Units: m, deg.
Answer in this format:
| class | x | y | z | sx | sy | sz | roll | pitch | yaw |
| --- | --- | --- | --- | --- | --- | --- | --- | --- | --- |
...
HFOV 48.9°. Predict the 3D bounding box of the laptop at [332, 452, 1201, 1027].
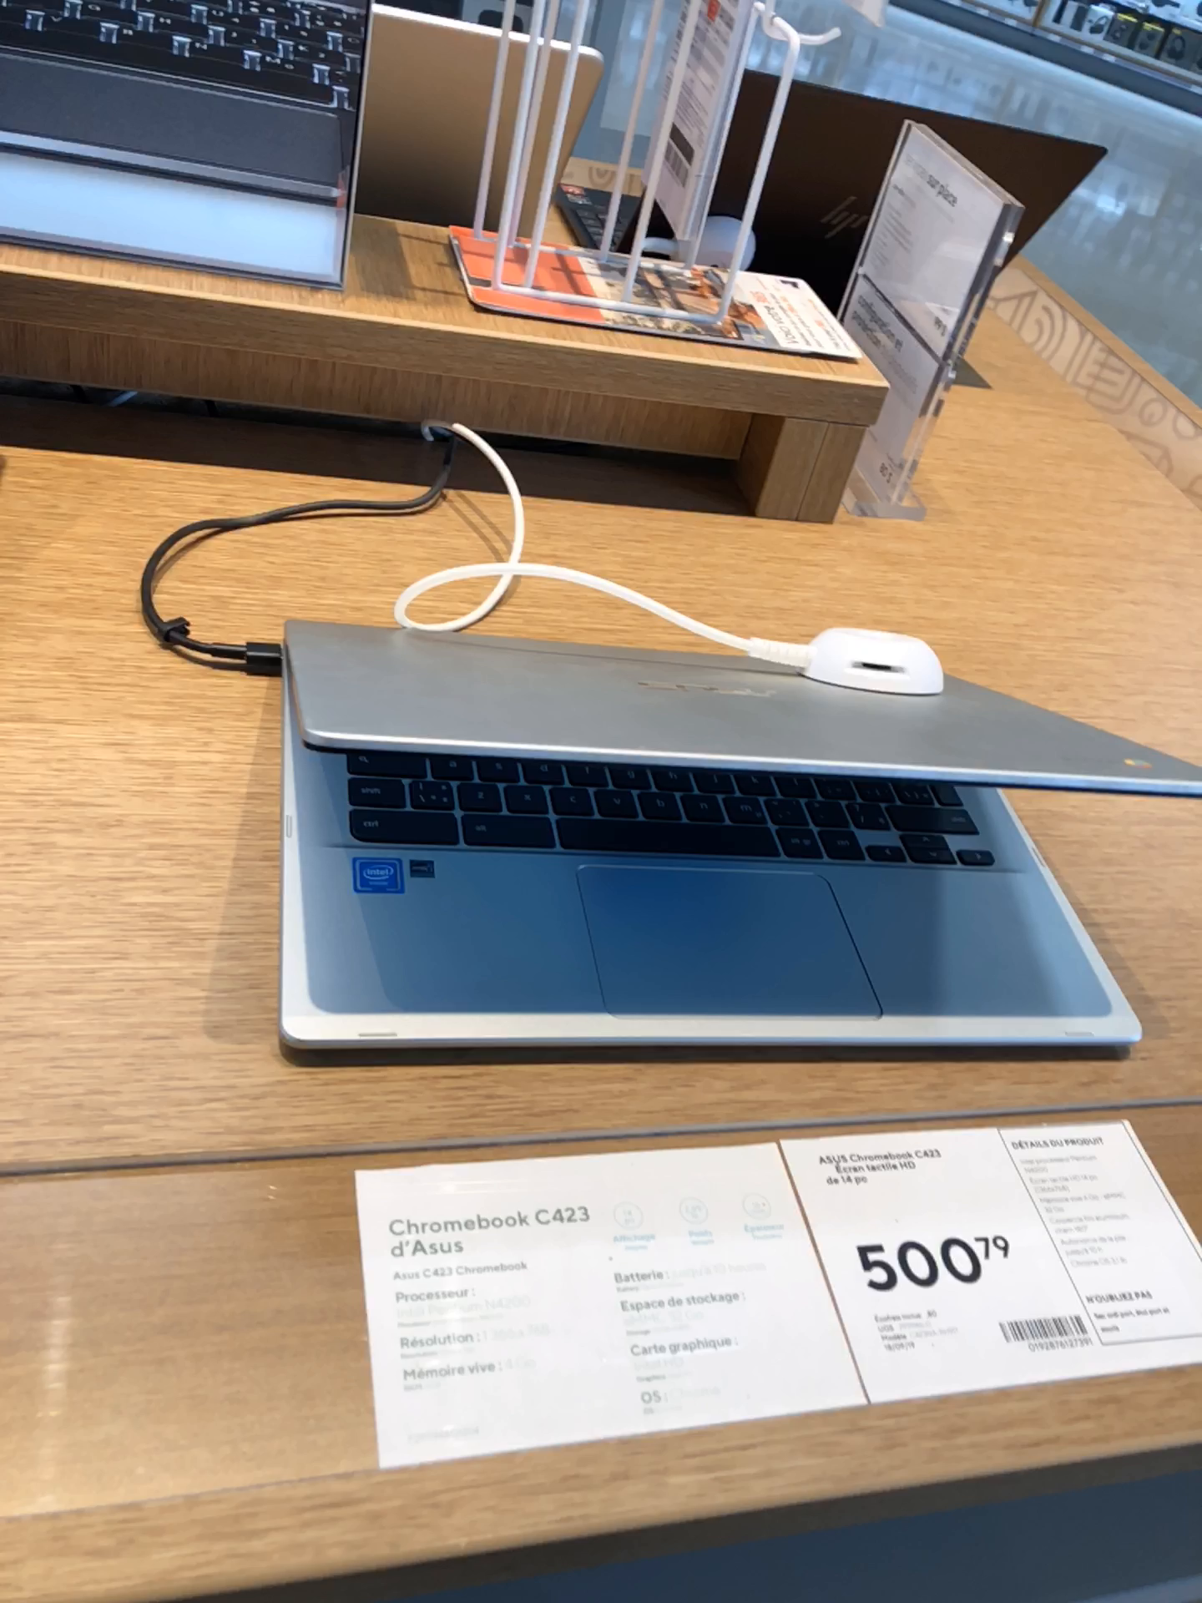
| class | x | y | z | sx | sy | sz | roll | pitch | yaw |
| --- | --- | --- | --- | --- | --- | --- | --- | --- | --- |
| laptop | 0.056 | -0.024 | 0.507 | 0.304 | 0.080 | 0.206 | 4 | 43 | -17 |
